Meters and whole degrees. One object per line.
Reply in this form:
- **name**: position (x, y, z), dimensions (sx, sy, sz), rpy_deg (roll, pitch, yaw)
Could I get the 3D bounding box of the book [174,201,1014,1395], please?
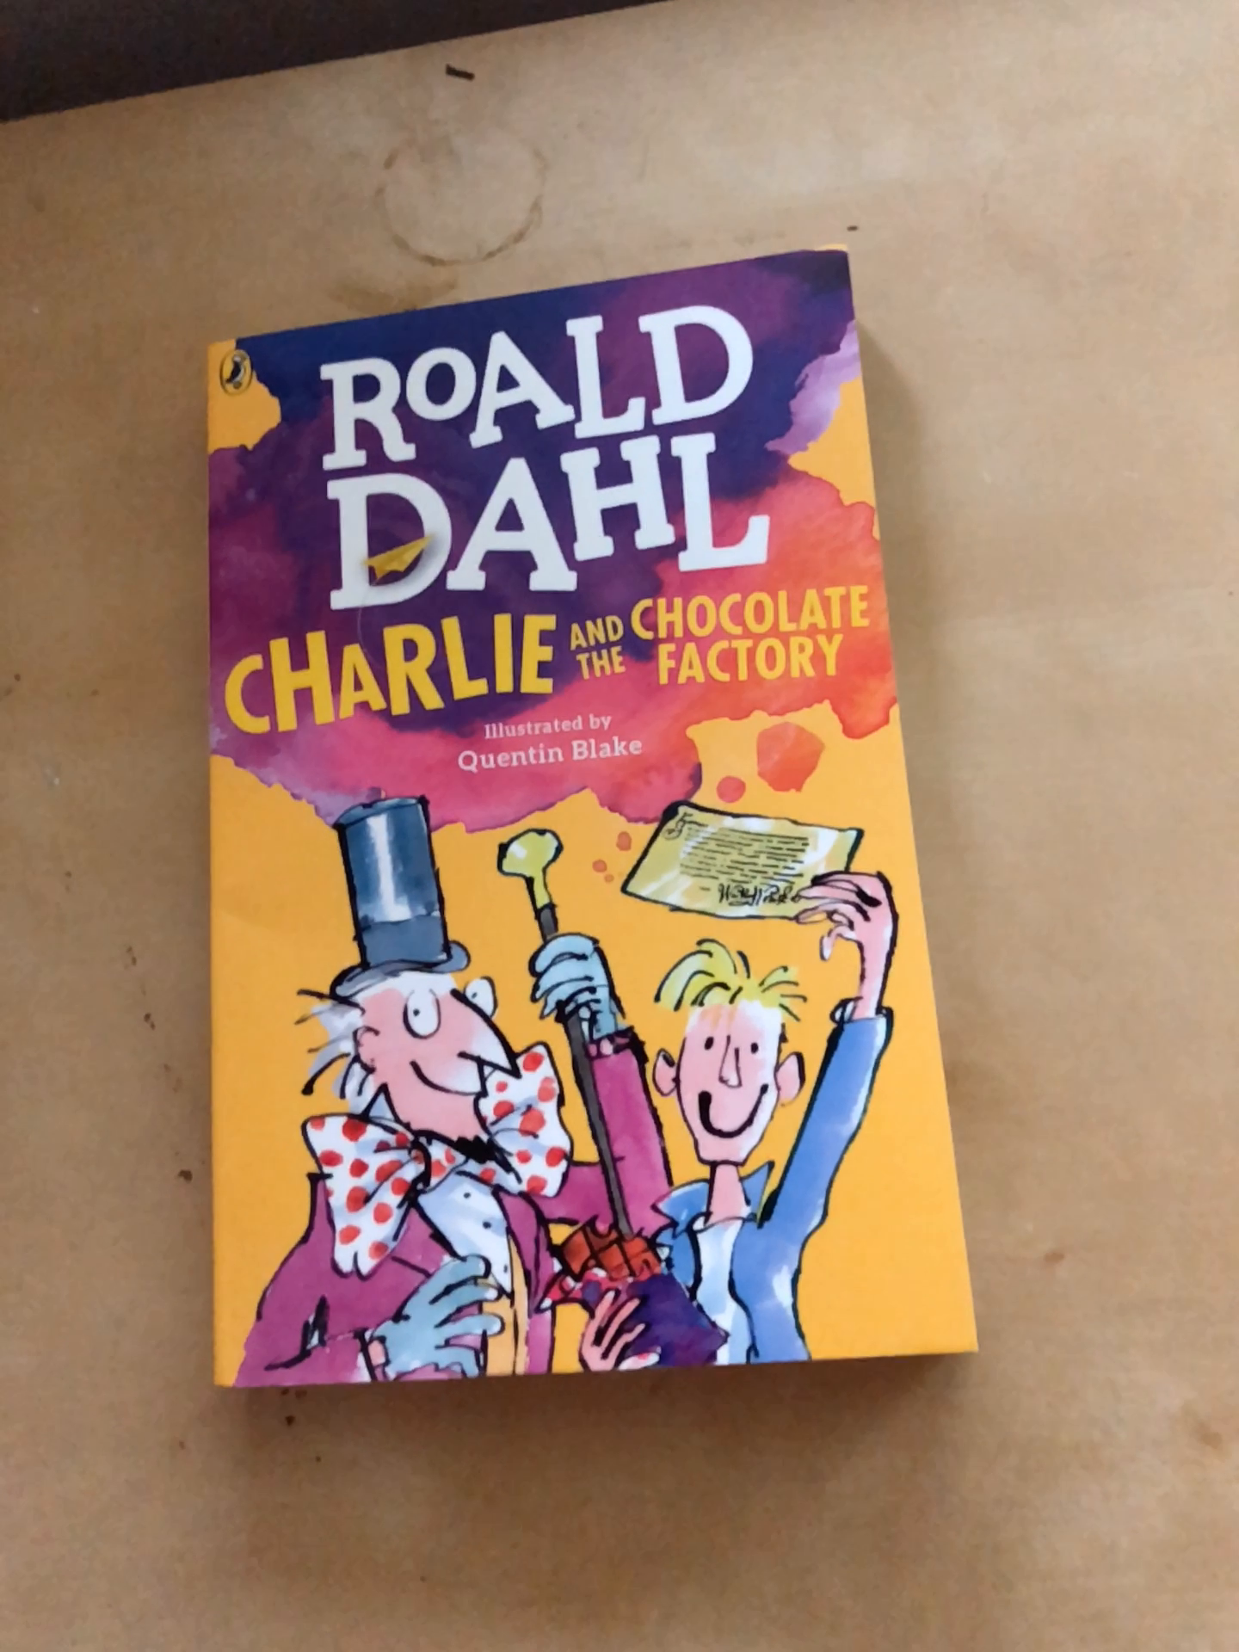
- **book**: position (-0.011, -0.007, 0.260), dimensions (0.134, 0.040, 0.201), rpy_deg (-6, 77, 7)
